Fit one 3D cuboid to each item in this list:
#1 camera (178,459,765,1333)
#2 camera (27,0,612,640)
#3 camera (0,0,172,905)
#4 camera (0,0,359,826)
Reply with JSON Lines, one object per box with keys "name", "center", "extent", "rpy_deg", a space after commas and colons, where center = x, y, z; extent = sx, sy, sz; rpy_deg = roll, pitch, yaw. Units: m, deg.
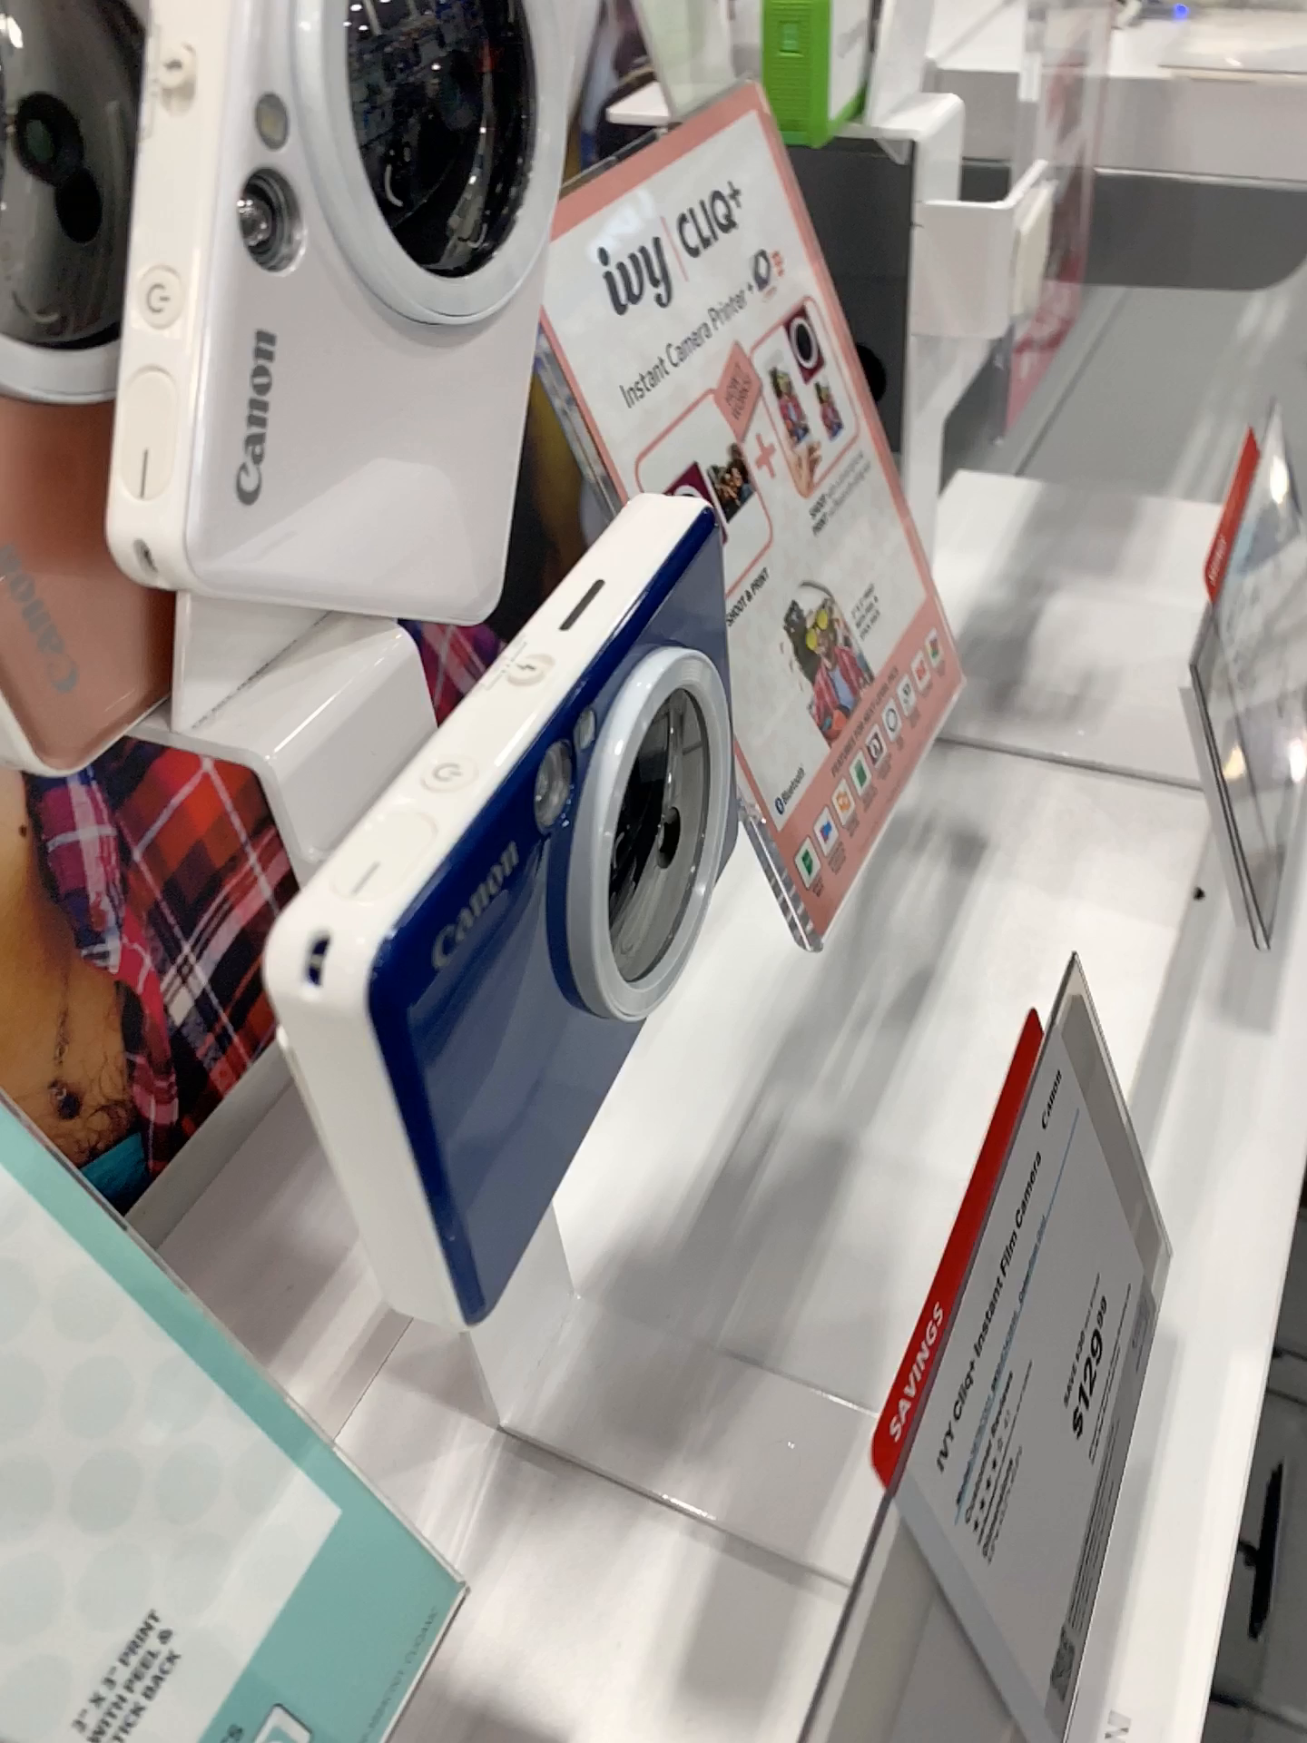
{"name": "camera", "center": [-0.015, -0.003, 0.210], "extent": [0.028, 0.070, 0.120], "rpy_deg": [12, 45, 19]}
{"name": "camera", "center": [-0.044, -0.098, 0.196], "extent": [0.028, 0.120, 0.078], "rpy_deg": [13, 11, 23]}
{"name": "camera", "center": [-0.112, -0.053, 0.156], "extent": [0.028, 0.110, 0.078], "rpy_deg": [12, 73, 18]}
{"name": "camera", "center": [-0.084, -0.078, 0.176], "extent": [0.028, 0.119, 0.078], "rpy_deg": [12, 45, 19]}
